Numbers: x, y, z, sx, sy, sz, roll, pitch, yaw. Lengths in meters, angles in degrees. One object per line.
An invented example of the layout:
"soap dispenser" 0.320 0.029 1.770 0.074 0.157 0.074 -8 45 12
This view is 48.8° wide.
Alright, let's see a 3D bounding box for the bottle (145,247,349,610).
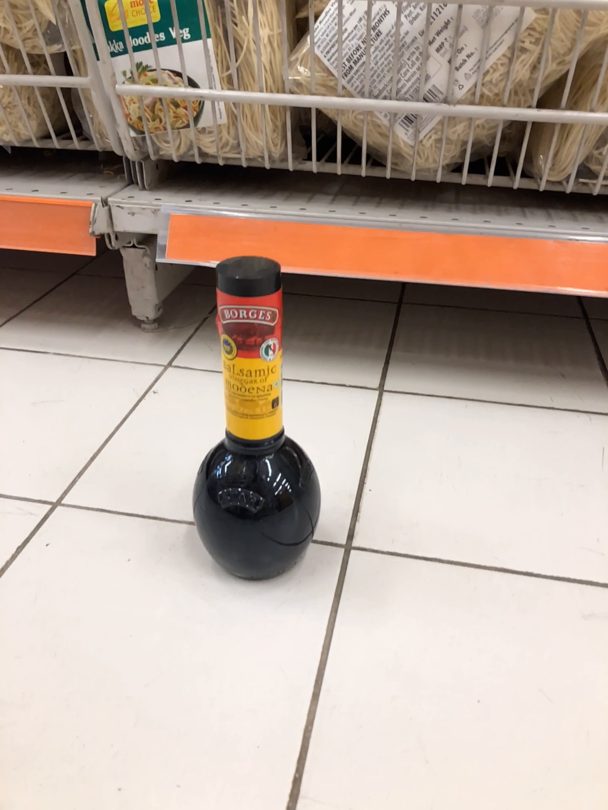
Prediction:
"bottle" -0.024 0.014 0.376 0.080 0.179 0.081 0 31 0
